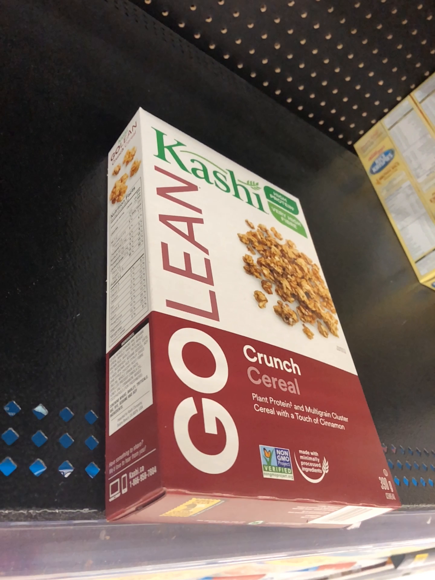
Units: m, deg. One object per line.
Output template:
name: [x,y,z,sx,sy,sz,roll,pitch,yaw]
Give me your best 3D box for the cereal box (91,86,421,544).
cereal box: [0.011,0.006,0.329,0.181,0.050,0.290,22,42,-35]
